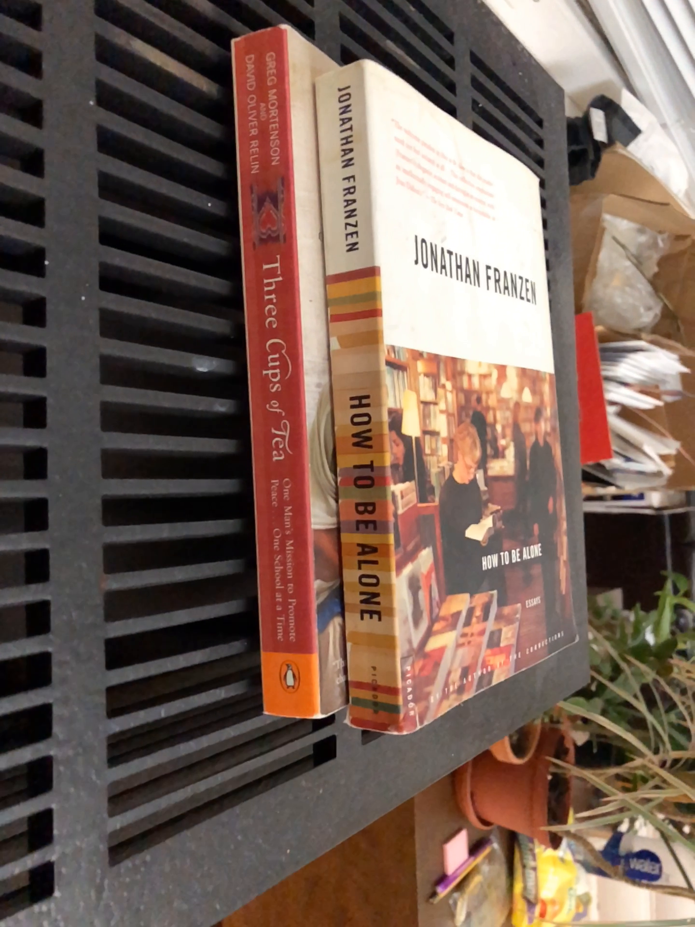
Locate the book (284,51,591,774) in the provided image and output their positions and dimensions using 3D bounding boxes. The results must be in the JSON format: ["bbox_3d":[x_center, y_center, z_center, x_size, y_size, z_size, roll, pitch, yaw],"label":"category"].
[{"bbox_3d":[0.045,-0.017,0.293,0.151,0.030,0.210,-4,90,-54],"label":"book"}]

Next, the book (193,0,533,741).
[{"bbox_3d":[0.017,-0.029,0.288,0.151,0.030,0.210,-4,90,-54],"label":"book"}]
